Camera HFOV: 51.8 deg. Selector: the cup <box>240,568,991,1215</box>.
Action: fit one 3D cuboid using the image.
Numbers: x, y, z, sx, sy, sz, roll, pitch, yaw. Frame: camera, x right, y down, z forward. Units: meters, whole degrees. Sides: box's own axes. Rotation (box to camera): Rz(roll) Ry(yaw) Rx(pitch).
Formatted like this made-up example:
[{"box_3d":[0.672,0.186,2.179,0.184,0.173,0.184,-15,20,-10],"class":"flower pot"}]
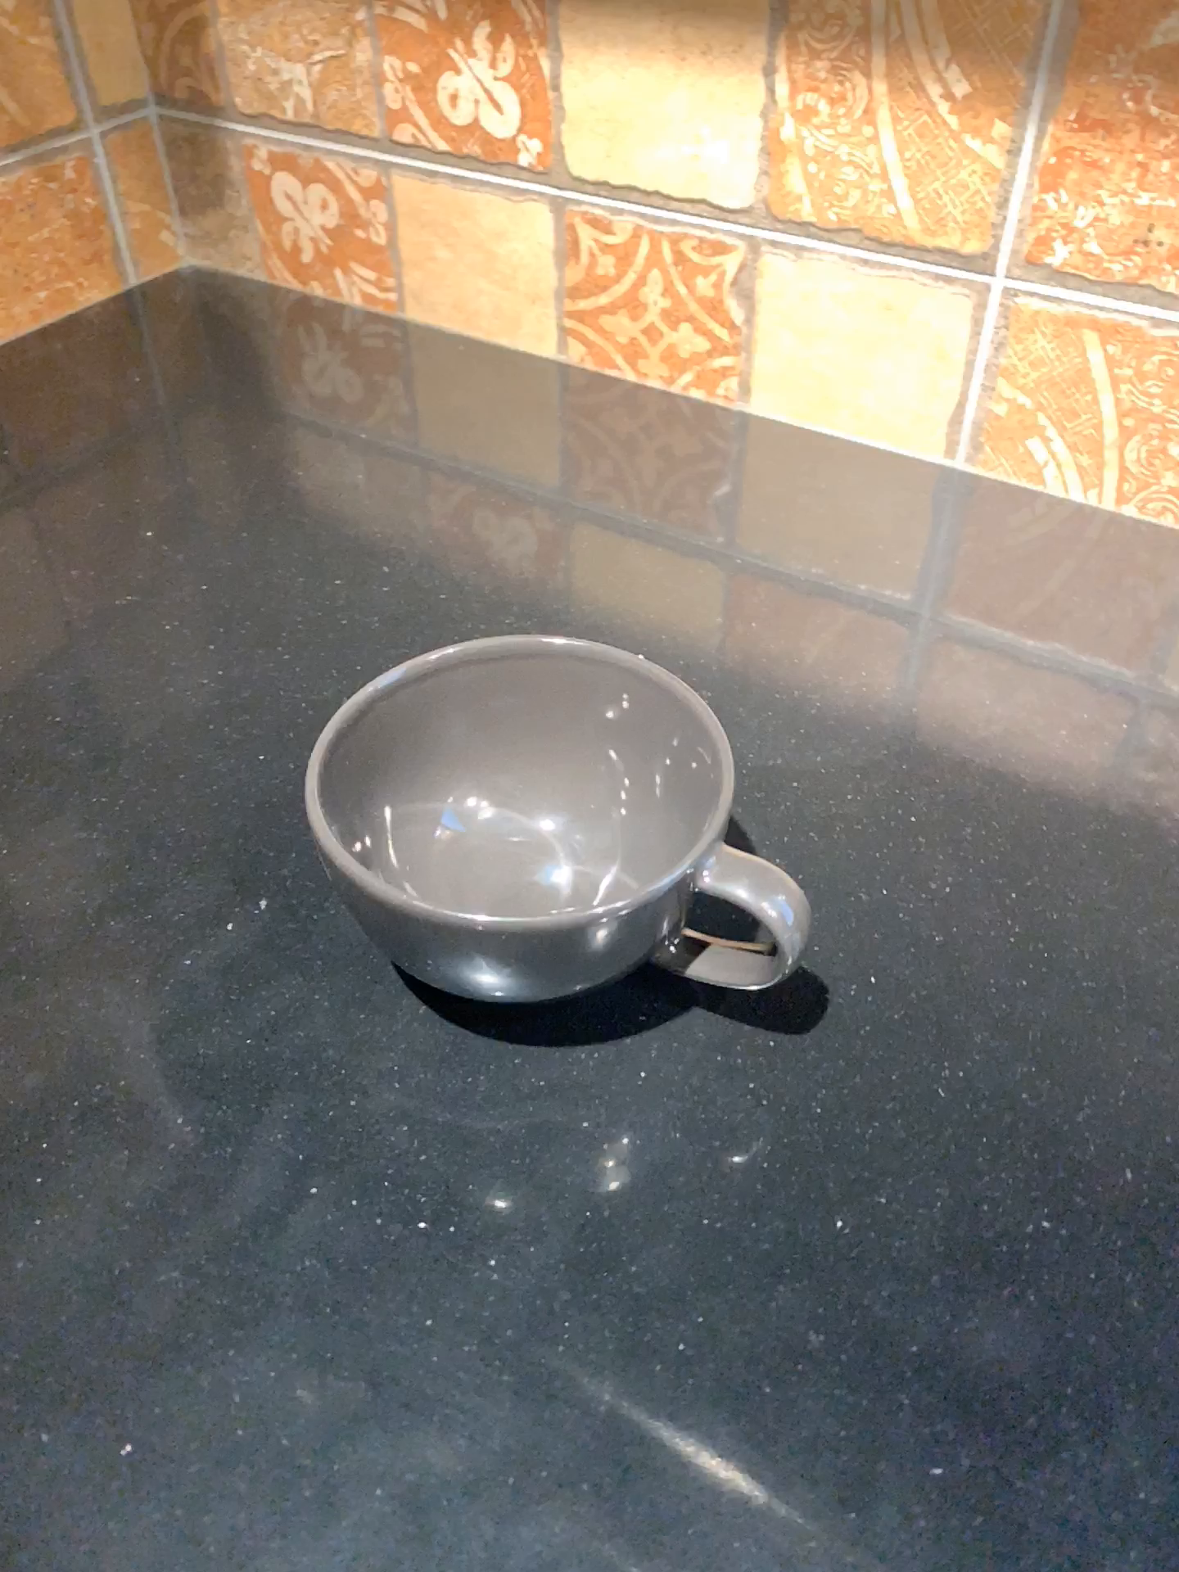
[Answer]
[{"box_3d":[0.010,0.016,0.303,0.140,0.060,0.110,19,47,21],"class":"cup"}]
